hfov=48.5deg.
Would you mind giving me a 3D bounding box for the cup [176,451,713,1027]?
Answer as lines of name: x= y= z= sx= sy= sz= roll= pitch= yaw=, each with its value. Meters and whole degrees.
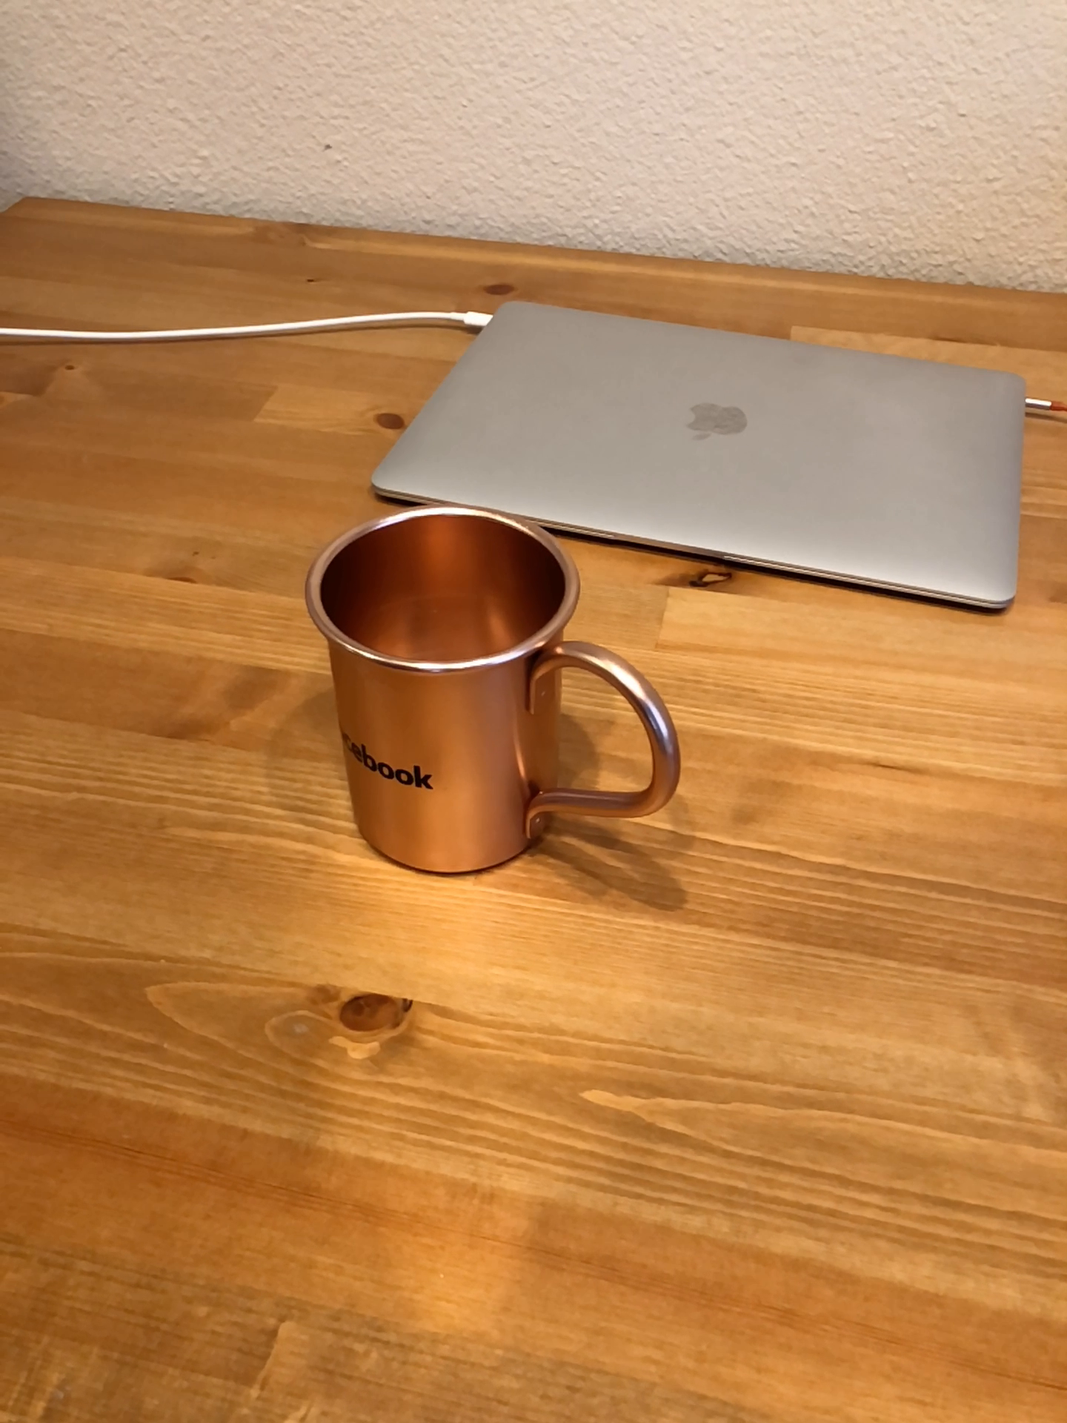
cup: x=-0.027 y=0.003 z=0.358 sx=0.130 sy=0.100 sz=0.080 roll=33 pitch=51 yaw=31
